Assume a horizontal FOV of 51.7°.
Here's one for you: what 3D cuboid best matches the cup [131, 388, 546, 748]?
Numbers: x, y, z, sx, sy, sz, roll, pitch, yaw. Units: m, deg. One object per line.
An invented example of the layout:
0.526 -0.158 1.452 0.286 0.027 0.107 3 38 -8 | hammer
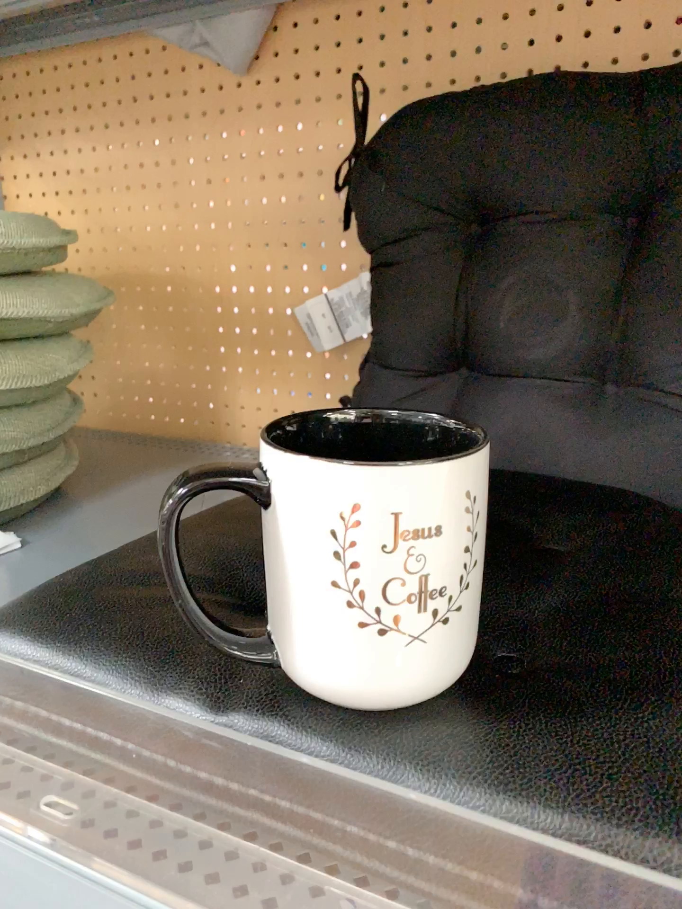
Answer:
-0.005 0.035 0.296 0.142 0.104 0.102 -5 14 -10 | cup
